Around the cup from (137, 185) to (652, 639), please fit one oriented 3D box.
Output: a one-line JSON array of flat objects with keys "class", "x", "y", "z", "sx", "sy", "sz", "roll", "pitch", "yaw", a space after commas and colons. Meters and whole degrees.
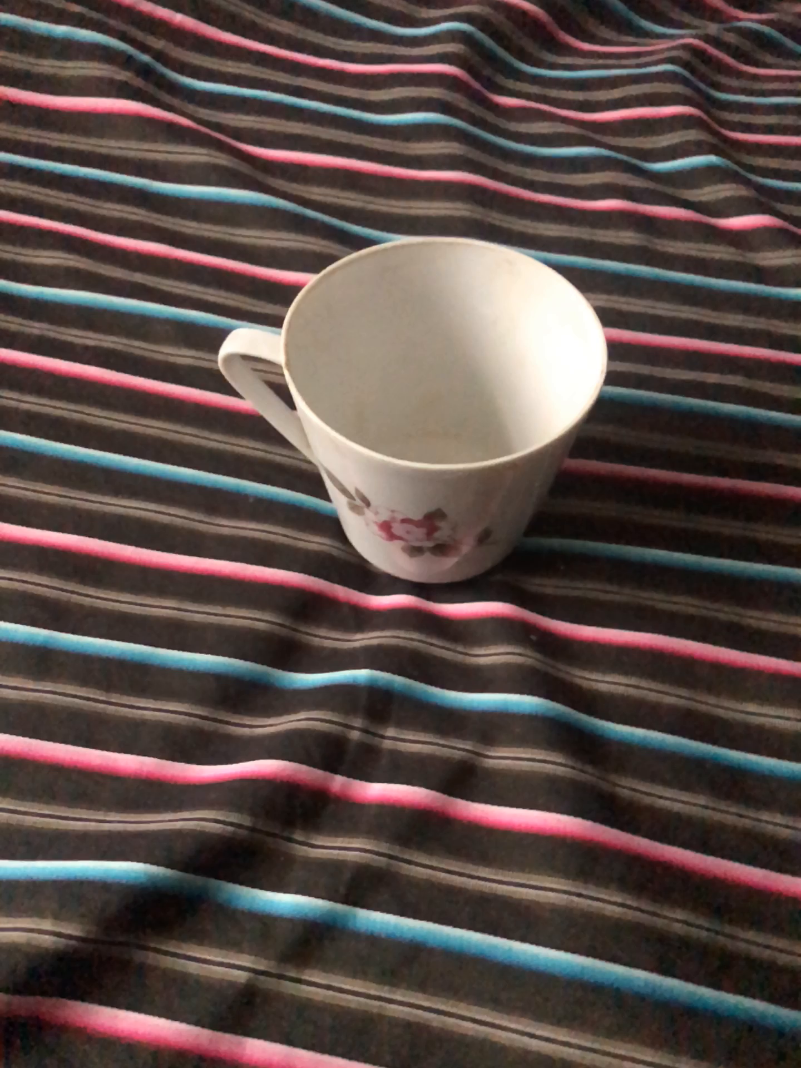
[{"class": "cup", "x": 0.001, "y": -0.032, "z": 0.222, "sx": 0.094, "sy": 0.049, "sz": 0.074, "roll": 20, "pitch": 60, "yaw": 13}]
